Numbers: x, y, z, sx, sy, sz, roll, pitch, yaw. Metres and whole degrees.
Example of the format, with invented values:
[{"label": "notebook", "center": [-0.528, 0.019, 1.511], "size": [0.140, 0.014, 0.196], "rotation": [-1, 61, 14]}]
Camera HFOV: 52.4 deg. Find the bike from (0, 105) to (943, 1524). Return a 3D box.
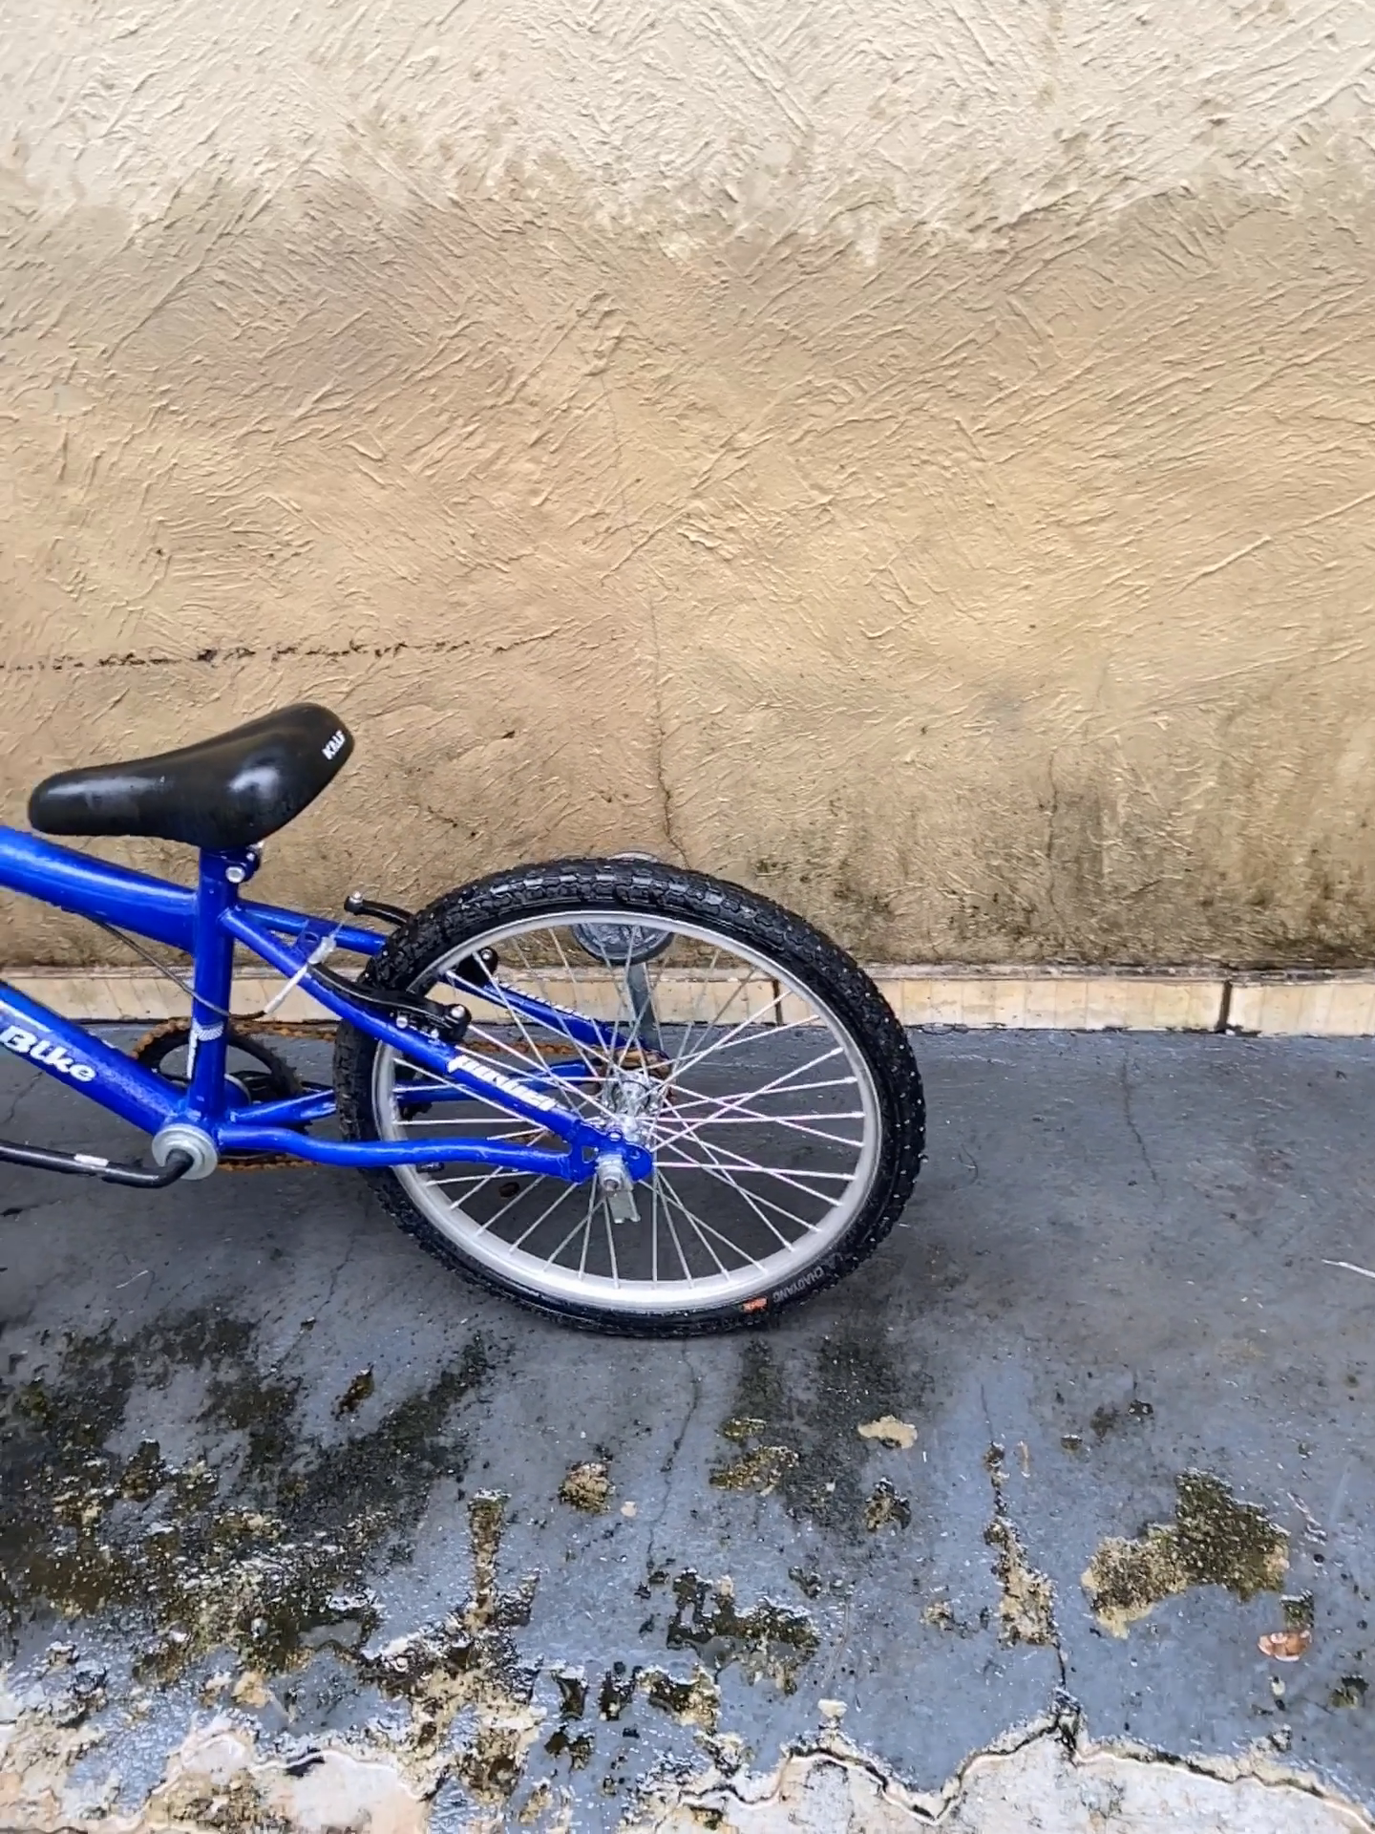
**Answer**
[{"label": "bike", "center": [-0.459, -0.060, 1.086], "size": [1.249, 0.849, 0.546], "rotation": [0, 39, 9]}]
